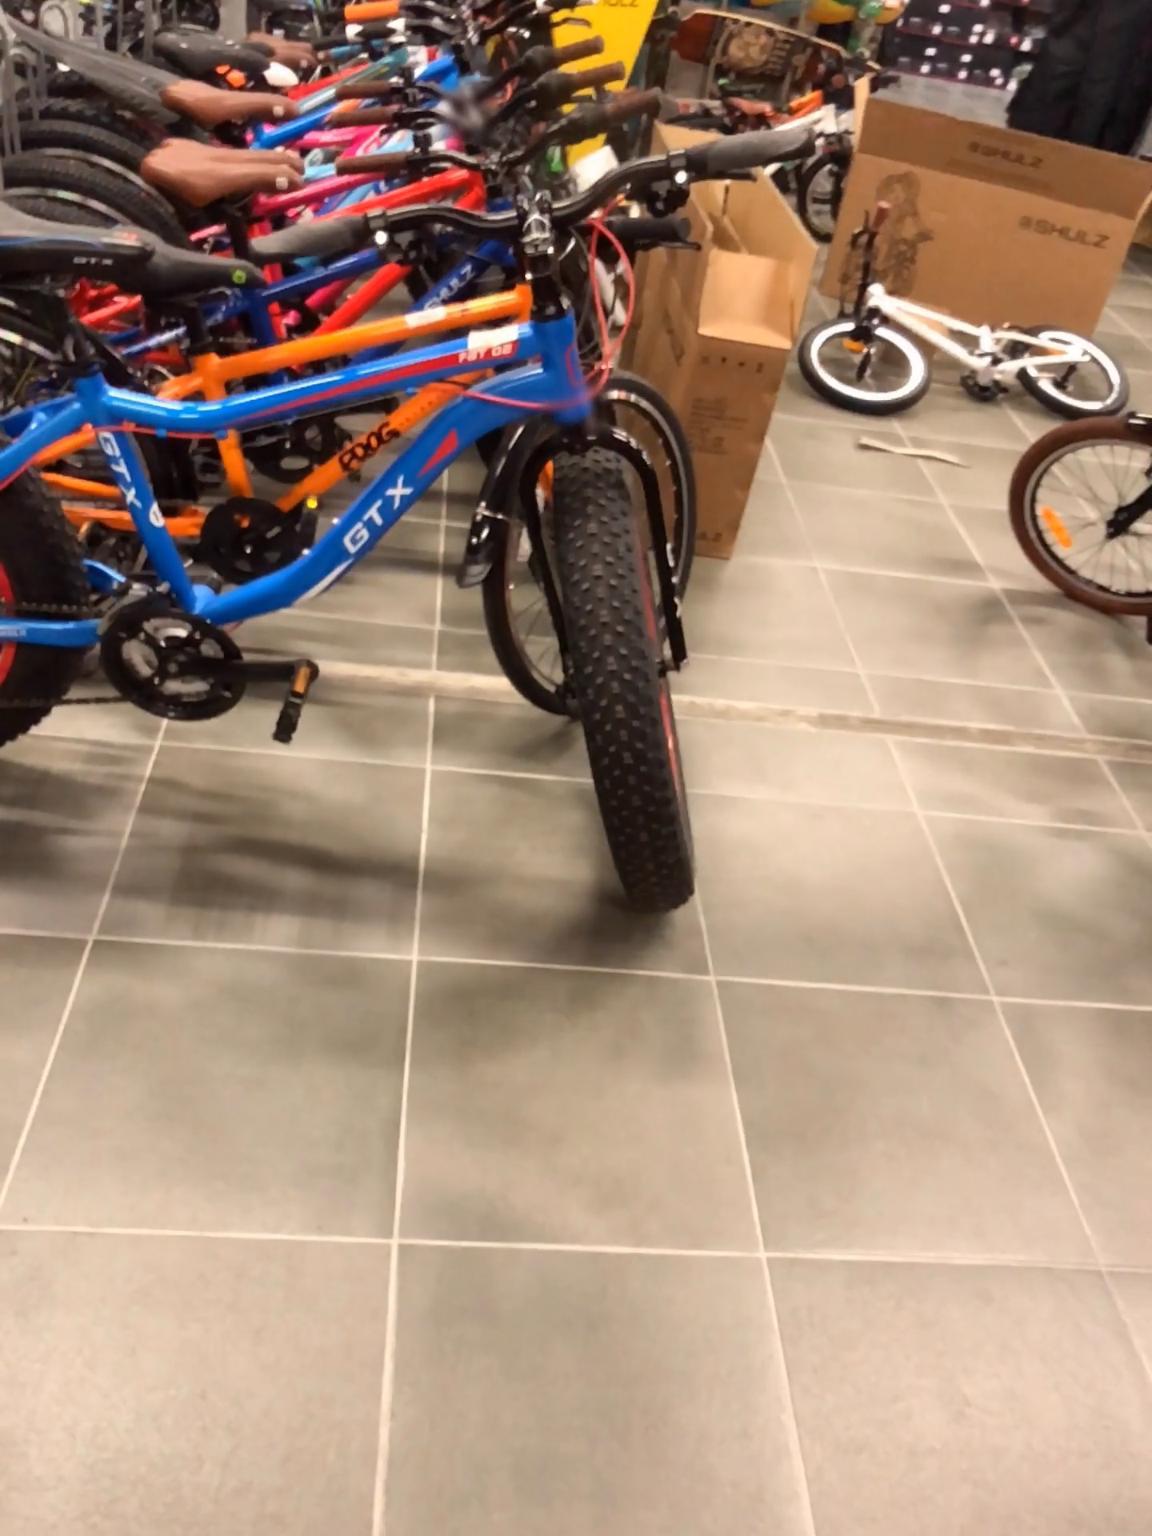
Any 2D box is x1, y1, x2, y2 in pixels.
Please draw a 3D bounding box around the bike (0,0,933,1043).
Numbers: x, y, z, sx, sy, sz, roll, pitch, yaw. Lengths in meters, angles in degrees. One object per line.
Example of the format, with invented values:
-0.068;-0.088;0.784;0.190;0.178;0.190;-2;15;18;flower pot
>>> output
-0.531;-0.301;1.529;1.467;1.023;0.617;5;36;-9;bike
